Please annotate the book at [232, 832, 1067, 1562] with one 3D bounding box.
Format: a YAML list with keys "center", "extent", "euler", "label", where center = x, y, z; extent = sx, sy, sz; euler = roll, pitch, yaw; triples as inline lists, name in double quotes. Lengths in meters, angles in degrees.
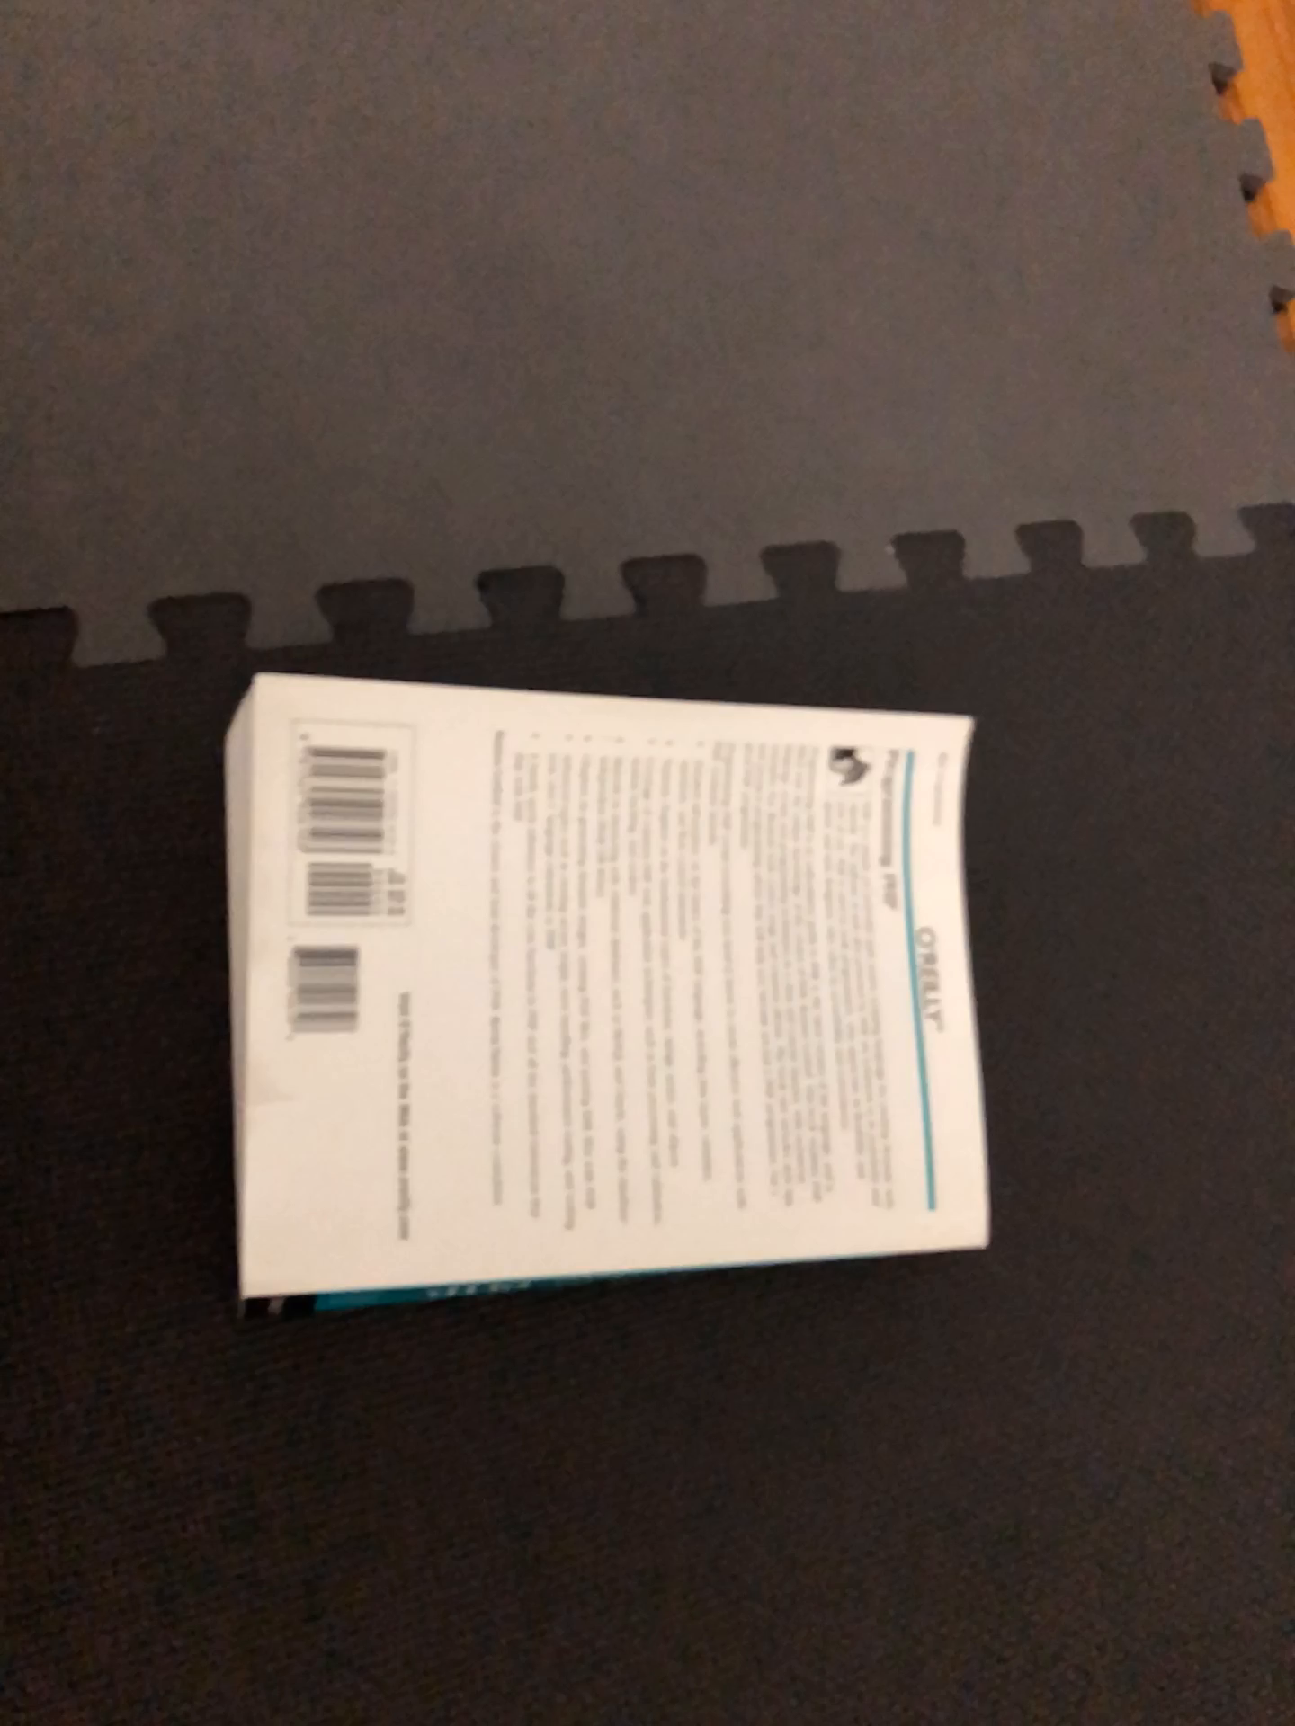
- center: [0.004, 0.111, 0.526]
  extent: [0.290, 0.040, 0.230]
  euler: [2, 78, -16]
  label: "book"
